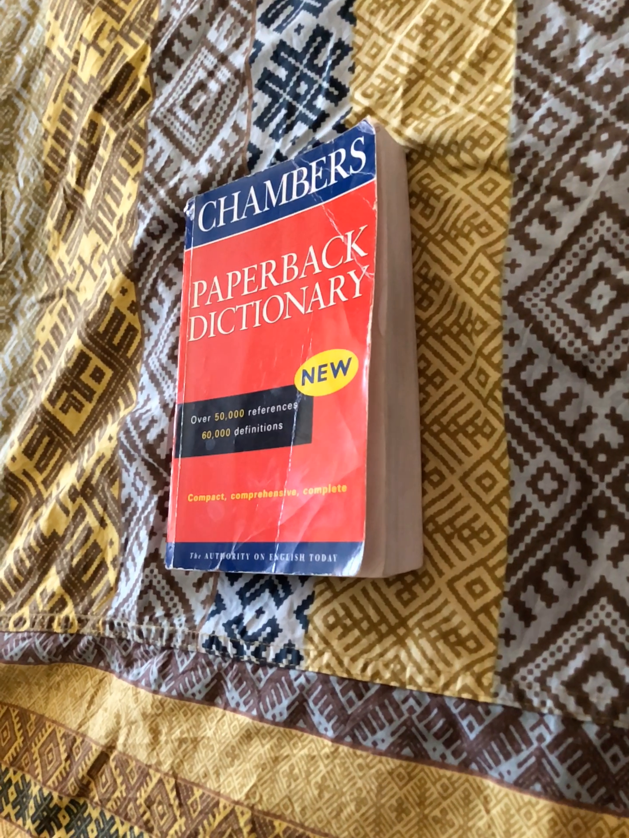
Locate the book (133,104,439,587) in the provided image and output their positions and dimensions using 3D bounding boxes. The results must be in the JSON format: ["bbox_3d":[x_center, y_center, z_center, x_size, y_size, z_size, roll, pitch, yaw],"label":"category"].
[{"bbox_3d":[-0.017,-0.019,0.283,0.117,0.044,0.166,-9,77,37],"label":"book"}]
